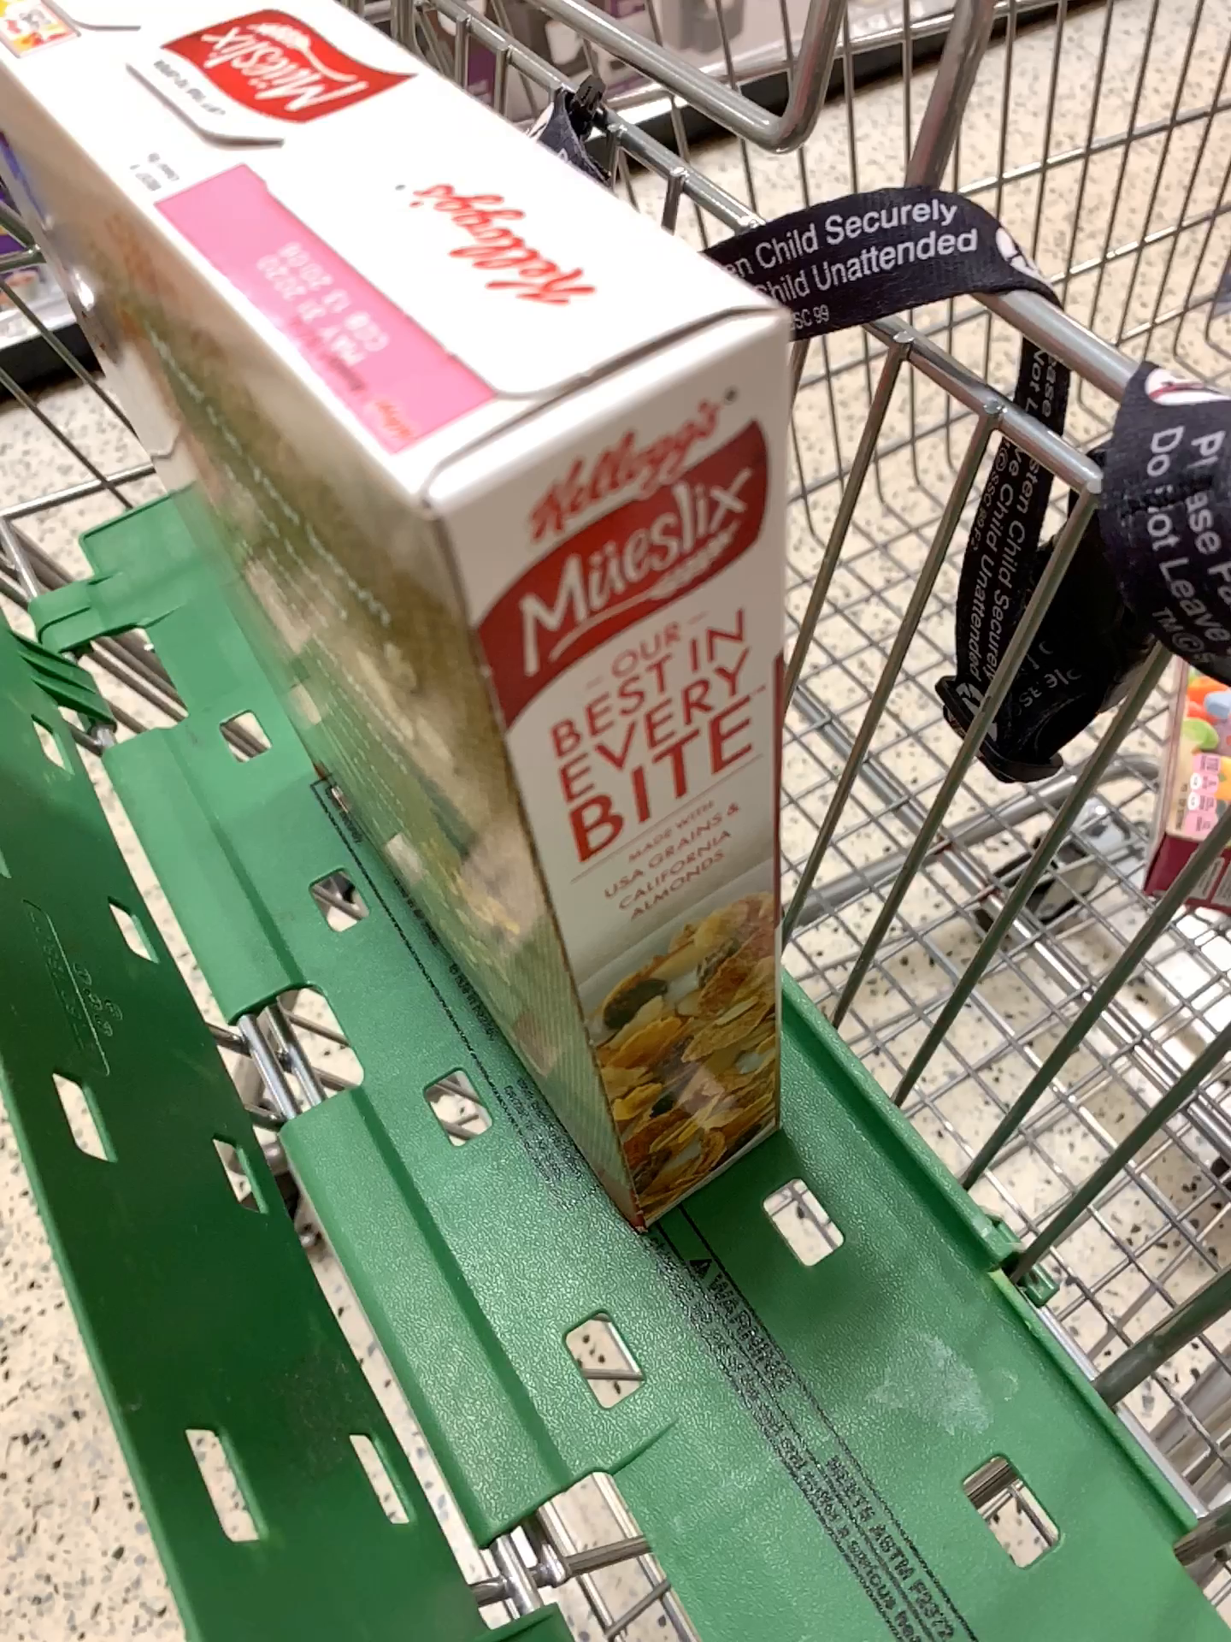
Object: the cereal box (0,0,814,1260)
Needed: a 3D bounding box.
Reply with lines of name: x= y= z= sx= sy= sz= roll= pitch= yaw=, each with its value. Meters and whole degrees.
cereal box: x=-0.042 y=-0.037 z=0.260 sx=0.050 sy=0.248 sz=0.191 roll=-32 pitch=59 yaw=-13
